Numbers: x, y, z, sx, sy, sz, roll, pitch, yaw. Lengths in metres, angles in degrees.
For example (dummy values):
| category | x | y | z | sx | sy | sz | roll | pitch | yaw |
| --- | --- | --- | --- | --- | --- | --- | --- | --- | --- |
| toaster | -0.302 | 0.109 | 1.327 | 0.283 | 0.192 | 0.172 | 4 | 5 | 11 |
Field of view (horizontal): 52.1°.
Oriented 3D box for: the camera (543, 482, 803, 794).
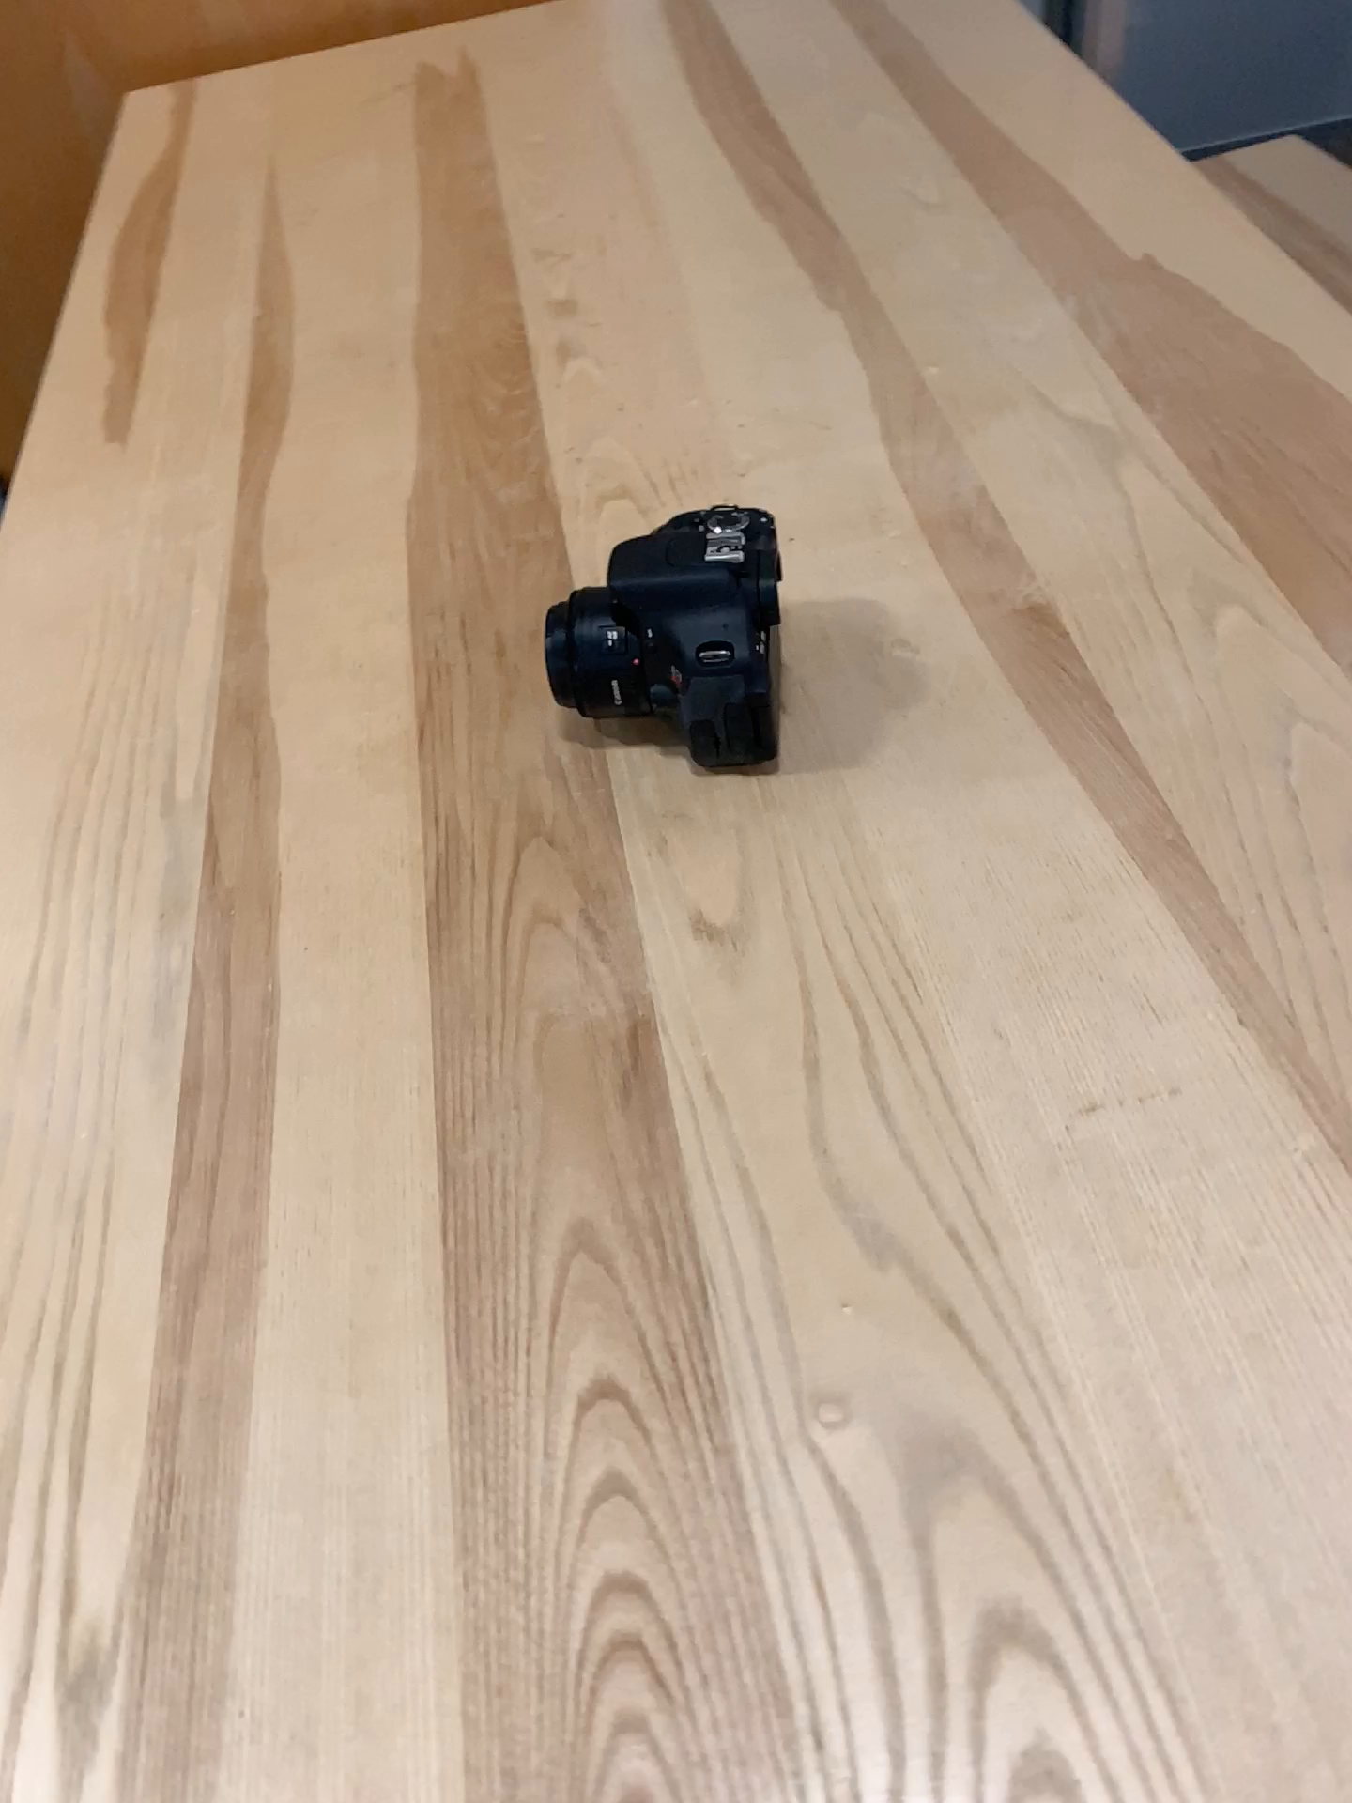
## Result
| category | x | y | z | sx | sy | sz | roll | pitch | yaw |
| --- | --- | --- | --- | --- | --- | --- | --- | --- | --- |
| camera | 0.004 | -0.136 | 0.713 | 0.116 | 0.094 | 0.123 | -3 | 49 | 7 |
